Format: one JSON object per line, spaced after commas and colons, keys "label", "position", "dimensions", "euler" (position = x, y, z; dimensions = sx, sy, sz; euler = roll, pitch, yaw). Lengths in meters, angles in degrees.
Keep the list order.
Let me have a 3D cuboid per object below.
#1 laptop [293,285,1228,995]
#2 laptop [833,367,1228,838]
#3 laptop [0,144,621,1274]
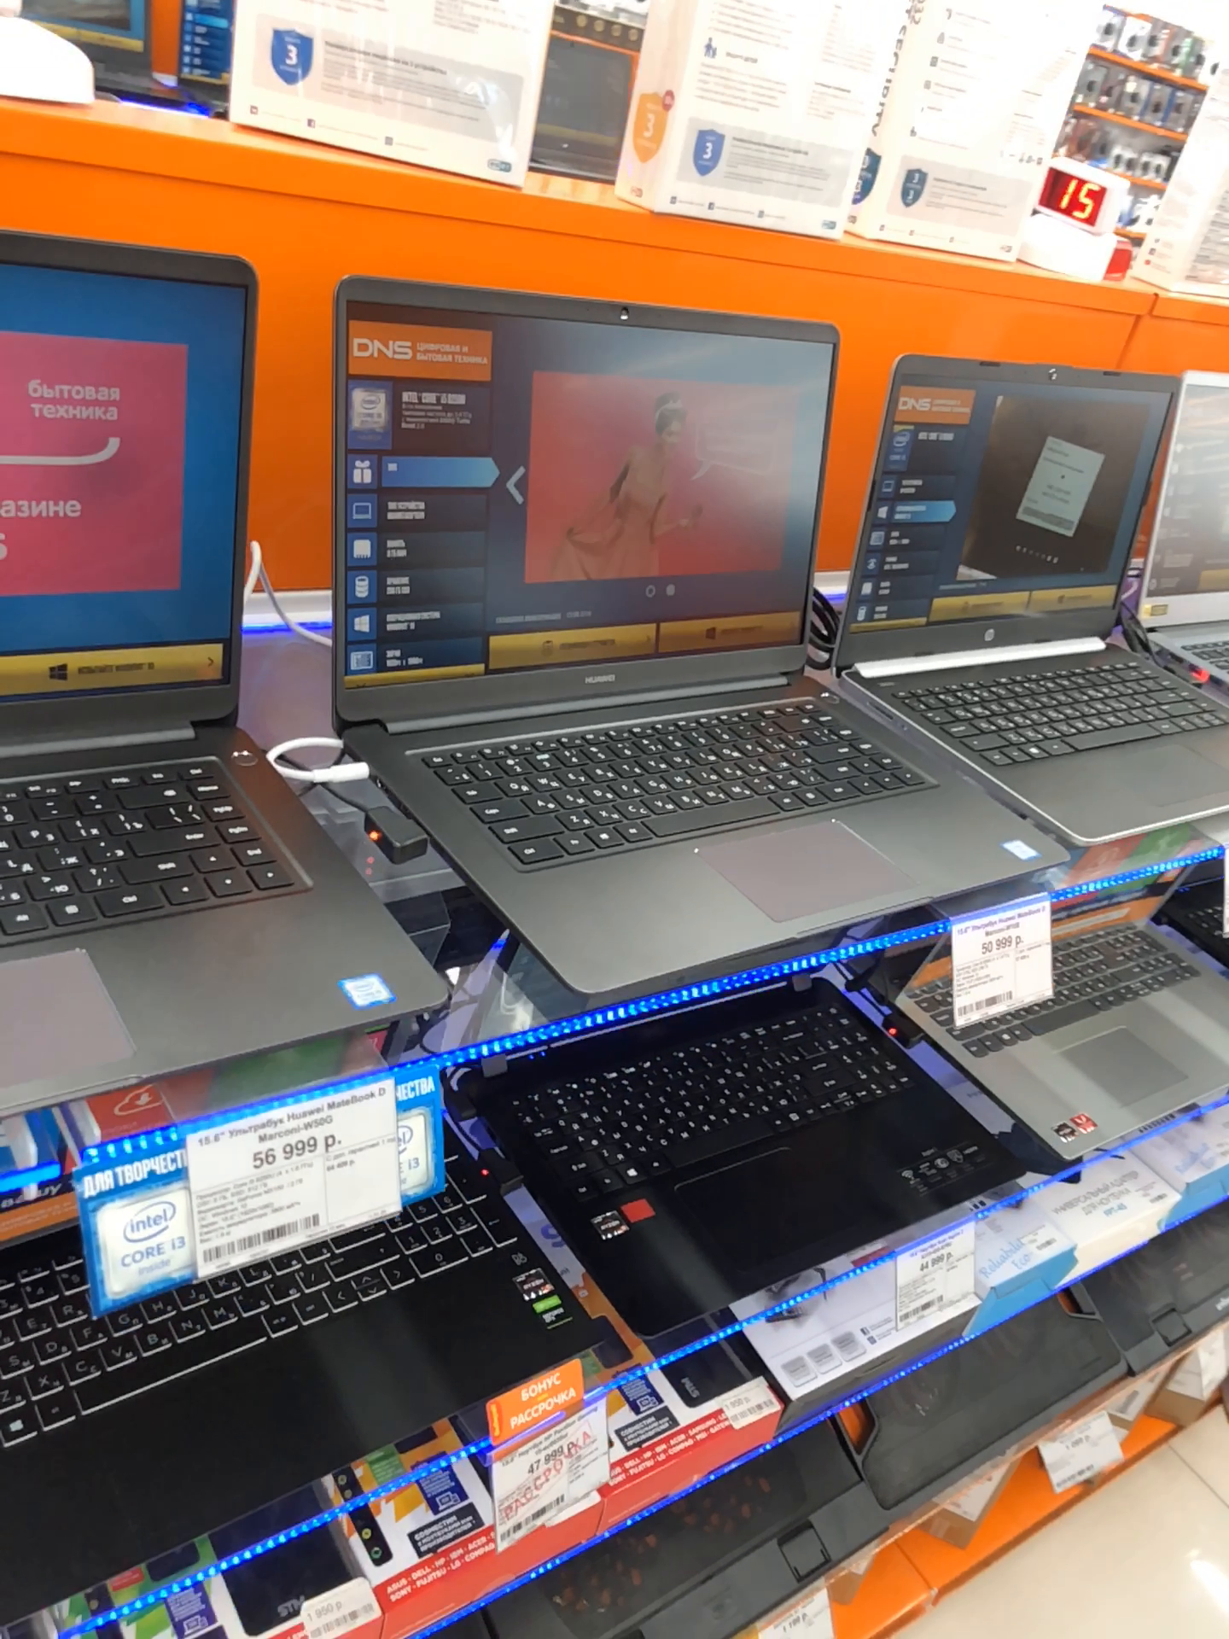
{"label": "laptop", "position": [0.063, -0.115, 0.707], "dimensions": [0.339, 0.212, 0.288], "euler": [-11, 38, -37]}
{"label": "laptop", "position": [0.353, -0.163, 0.906], "dimensions": [0.270, 0.195, 0.243], "euler": [-10, 39, -31]}
{"label": "laptop", "position": [-0.251, -0.057, 0.463], "dimensions": [0.356, 0.230, 0.242], "euler": [-11, 37, -37]}
